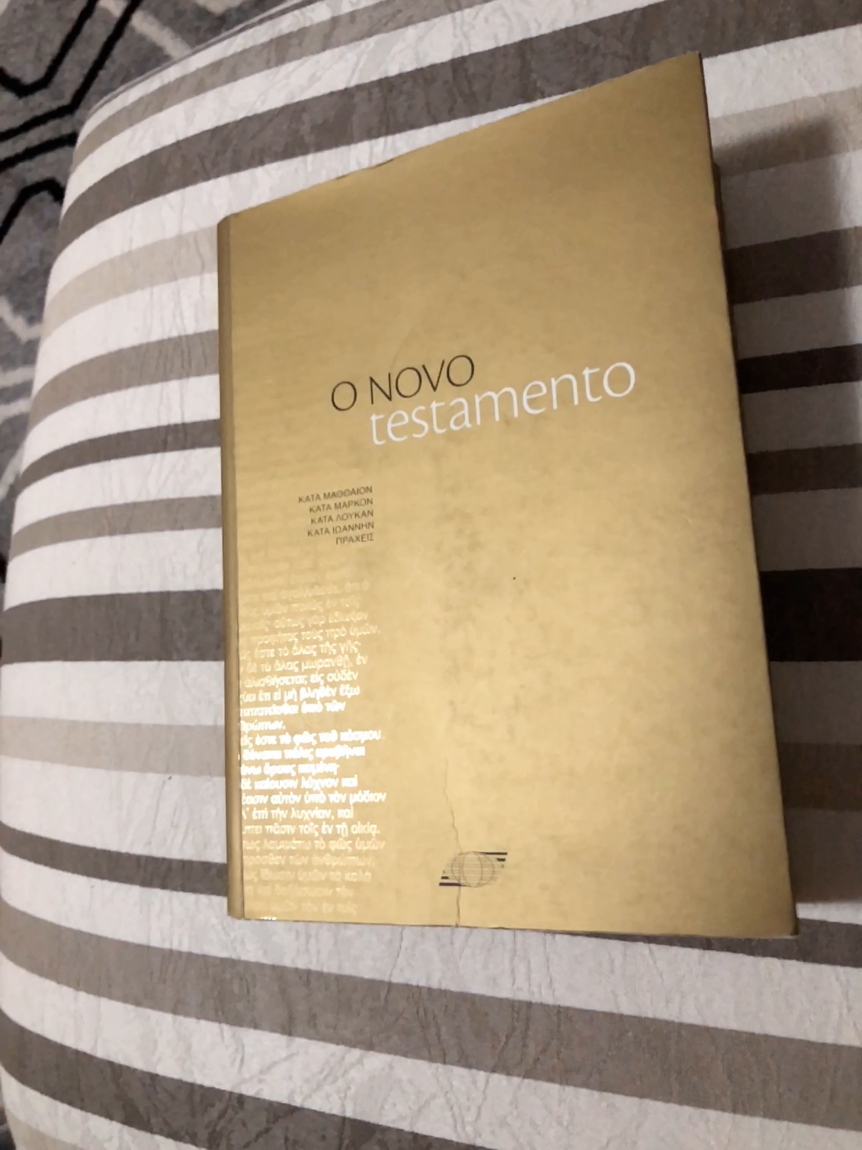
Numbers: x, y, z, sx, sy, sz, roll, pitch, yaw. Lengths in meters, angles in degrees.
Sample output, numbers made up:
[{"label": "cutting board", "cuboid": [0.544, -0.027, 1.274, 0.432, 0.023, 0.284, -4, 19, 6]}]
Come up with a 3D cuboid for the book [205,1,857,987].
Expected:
[{"label": "book", "cuboid": [0.019, -0.017, 0.269, 0.160, 0.050, 0.230, -6, 79, 22]}]
